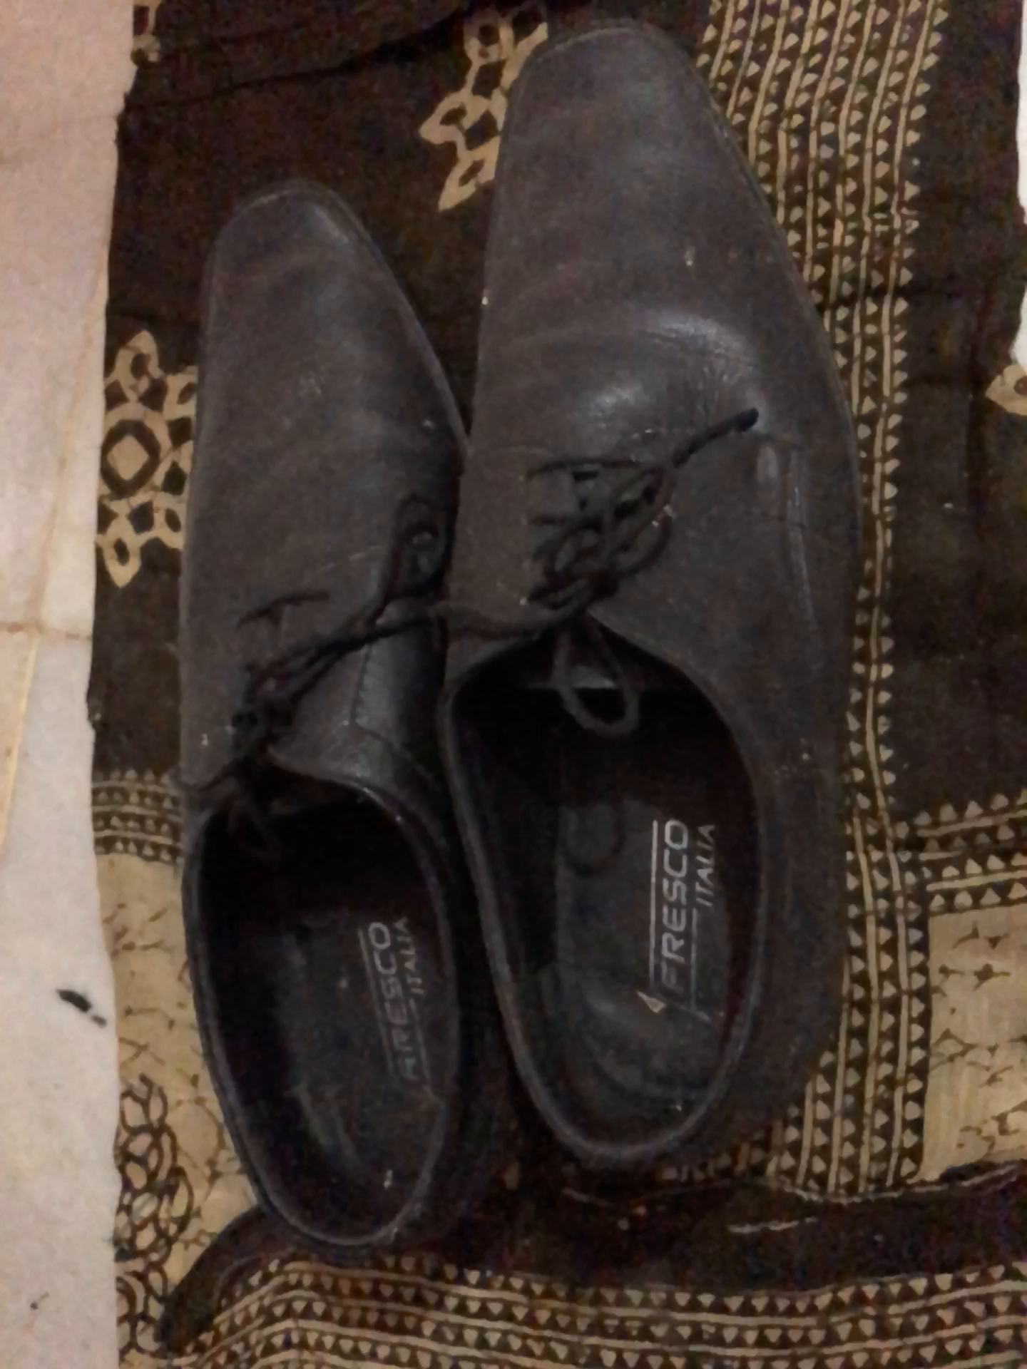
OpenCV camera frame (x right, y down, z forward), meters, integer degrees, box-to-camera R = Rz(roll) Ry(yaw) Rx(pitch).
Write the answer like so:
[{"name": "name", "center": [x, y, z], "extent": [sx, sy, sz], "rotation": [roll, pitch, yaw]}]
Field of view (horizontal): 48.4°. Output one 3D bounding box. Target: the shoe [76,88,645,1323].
[{"name": "shoe", "center": [-0.049, 0.006, 0.361], "extent": [0.110, 0.070, 0.340], "rotation": [-12, 83, 18]}]

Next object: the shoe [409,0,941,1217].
[{"name": "shoe", "center": [0.045, -0.040, 0.327], "extent": [0.110, 0.070, 0.340], "rotation": [-6, 85, 19]}]
